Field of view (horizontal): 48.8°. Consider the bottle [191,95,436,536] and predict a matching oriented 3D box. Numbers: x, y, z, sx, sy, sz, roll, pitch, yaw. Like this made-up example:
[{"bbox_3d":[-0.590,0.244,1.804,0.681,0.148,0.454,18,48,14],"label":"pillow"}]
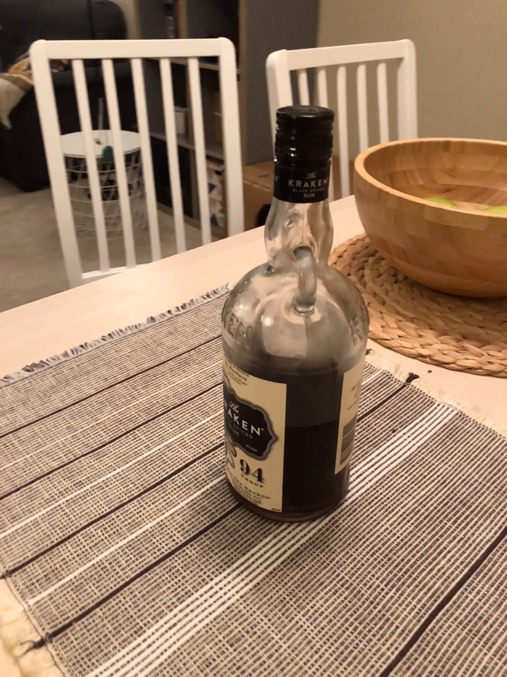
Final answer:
[{"bbox_3d":[0.021,-0.008,0.347,0.100,0.248,0.101,1,32,-1],"label":"bottle"}]
